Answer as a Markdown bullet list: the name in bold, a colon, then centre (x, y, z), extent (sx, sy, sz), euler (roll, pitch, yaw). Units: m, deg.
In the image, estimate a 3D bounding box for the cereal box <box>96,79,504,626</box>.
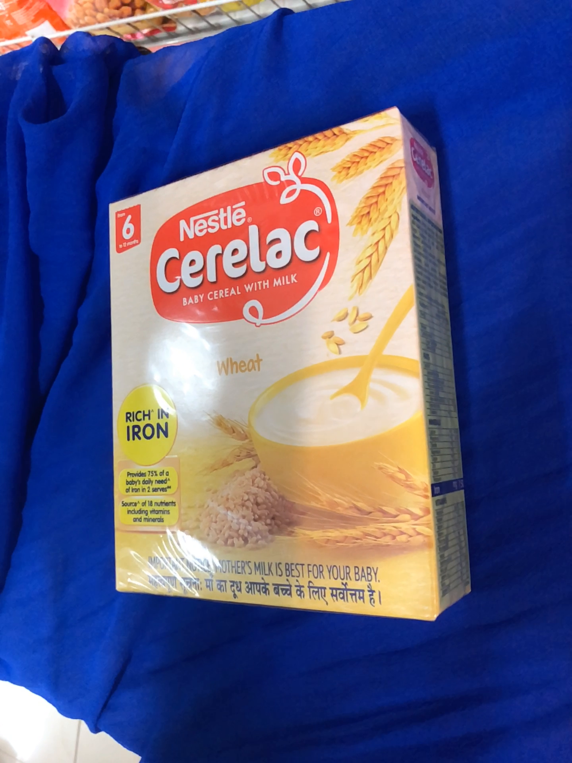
- **cereal box**: centre (-0.001, -0.005, 0.281), extent (0.160, 0.060, 0.190), euler (-6, 83, 27)
